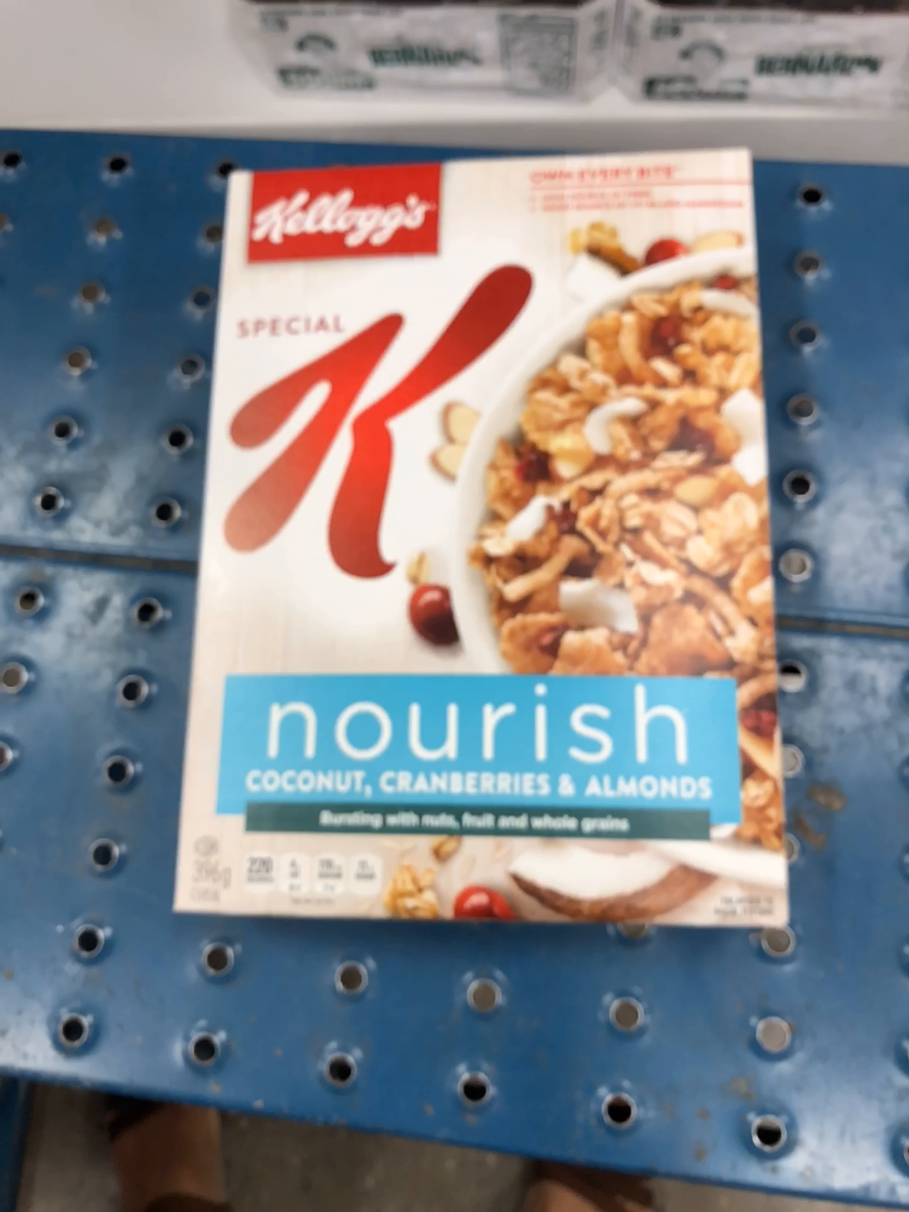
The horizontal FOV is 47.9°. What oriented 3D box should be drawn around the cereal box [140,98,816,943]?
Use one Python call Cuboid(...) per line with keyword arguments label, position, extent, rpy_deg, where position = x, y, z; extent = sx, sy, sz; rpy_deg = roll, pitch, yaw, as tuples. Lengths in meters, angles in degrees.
Cuboid(label="cereal box", position=(0.008, -0.035, 0.371), extent=(0.210, 0.050, 0.290), rpy_deg=(0, 78, 5))
